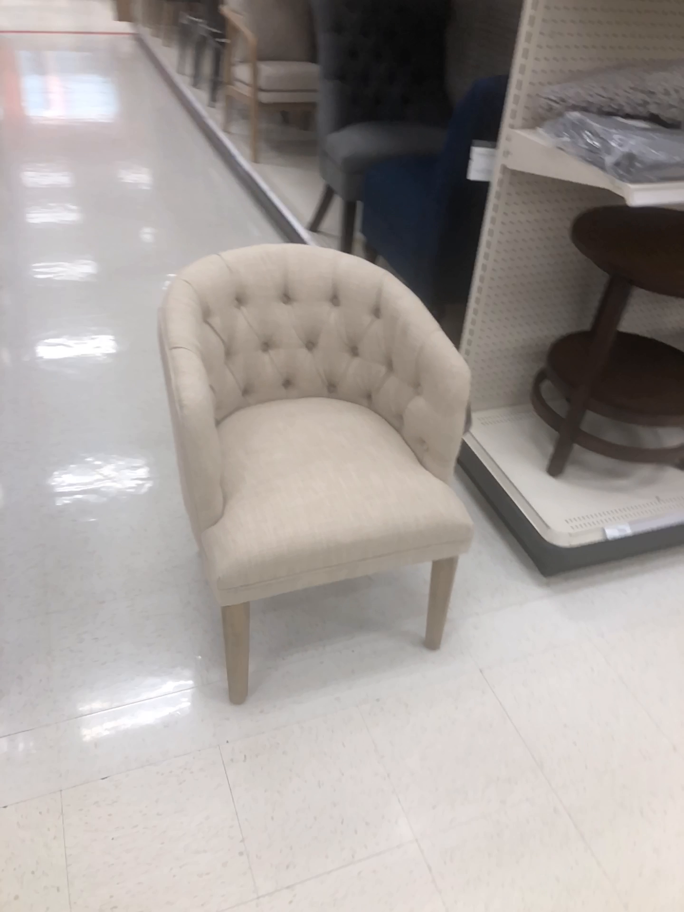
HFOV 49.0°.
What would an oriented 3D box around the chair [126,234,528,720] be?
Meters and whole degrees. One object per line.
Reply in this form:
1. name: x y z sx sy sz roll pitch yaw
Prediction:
1. chair: -0.095 0.001 1.634 0.561 0.700 0.684 -10 39 -20
